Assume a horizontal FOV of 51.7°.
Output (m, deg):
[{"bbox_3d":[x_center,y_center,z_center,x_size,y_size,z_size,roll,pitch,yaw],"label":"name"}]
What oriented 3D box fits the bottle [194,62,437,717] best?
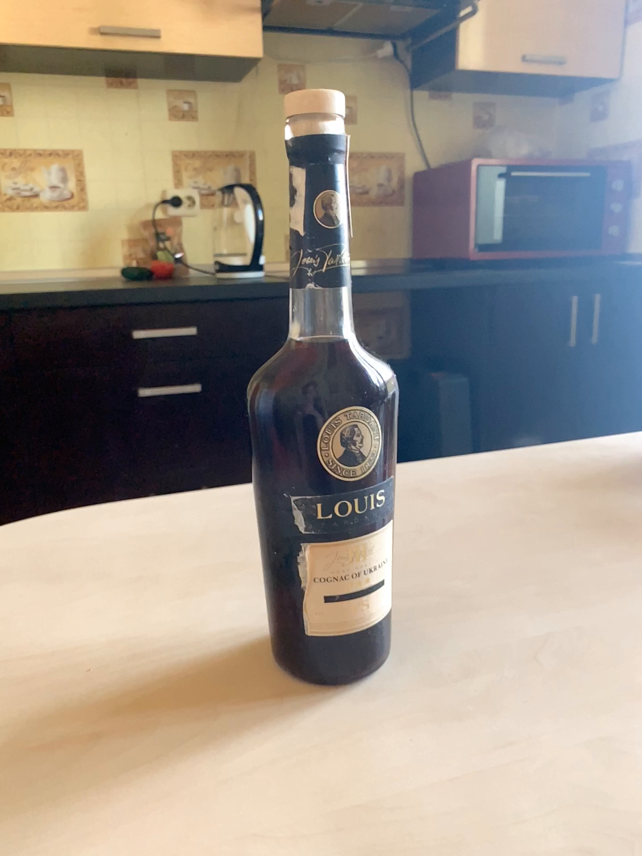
[{"bbox_3d":[-0.001,-0.014,0.340,0.080,0.289,0.080,-1,15,0],"label":"bottle"}]
